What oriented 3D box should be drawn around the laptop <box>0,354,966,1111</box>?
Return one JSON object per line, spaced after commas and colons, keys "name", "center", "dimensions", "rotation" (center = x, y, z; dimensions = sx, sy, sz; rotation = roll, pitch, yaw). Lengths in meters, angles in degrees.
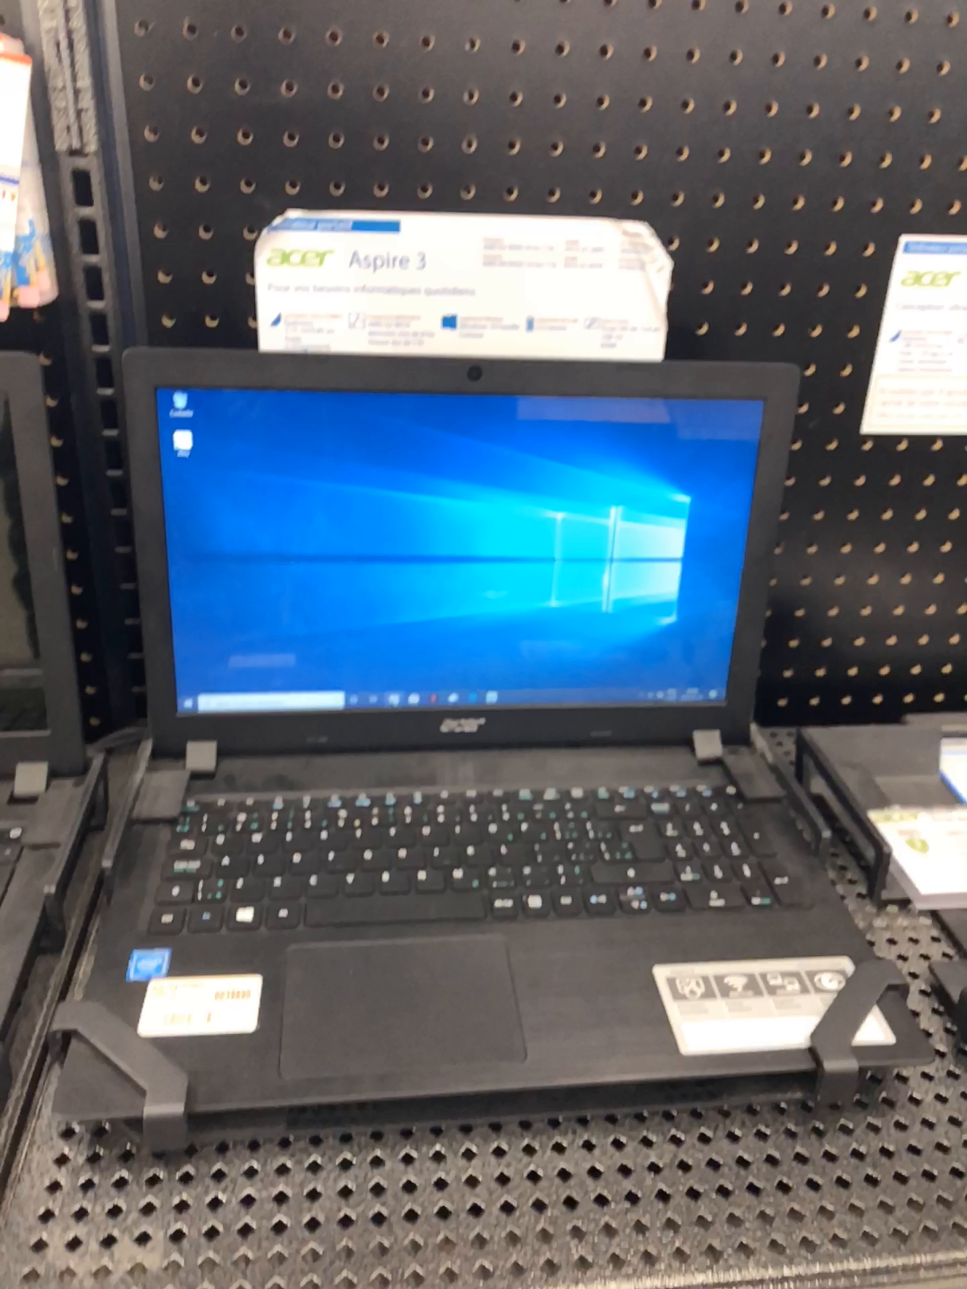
{"name": "laptop", "center": [0.002, 0.014, 0.545], "dimensions": [0.386, 0.247, 0.296], "rotation": [-1, 27, -6]}
